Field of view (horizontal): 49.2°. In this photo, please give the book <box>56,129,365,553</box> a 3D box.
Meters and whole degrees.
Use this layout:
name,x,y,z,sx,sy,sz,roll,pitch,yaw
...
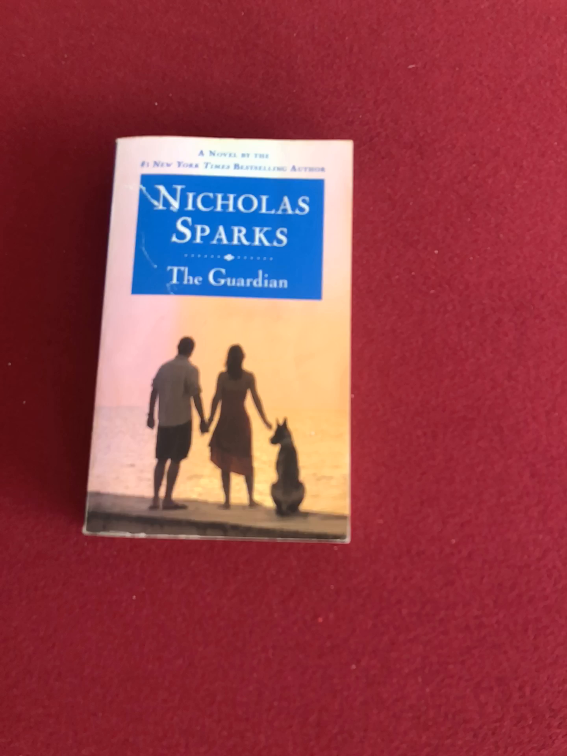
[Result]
name,x,y,z,sx,sy,sz,roll,pitch,yaw
book,-0.024,-0.018,0.260,0.110,0.030,0.170,3,77,1
